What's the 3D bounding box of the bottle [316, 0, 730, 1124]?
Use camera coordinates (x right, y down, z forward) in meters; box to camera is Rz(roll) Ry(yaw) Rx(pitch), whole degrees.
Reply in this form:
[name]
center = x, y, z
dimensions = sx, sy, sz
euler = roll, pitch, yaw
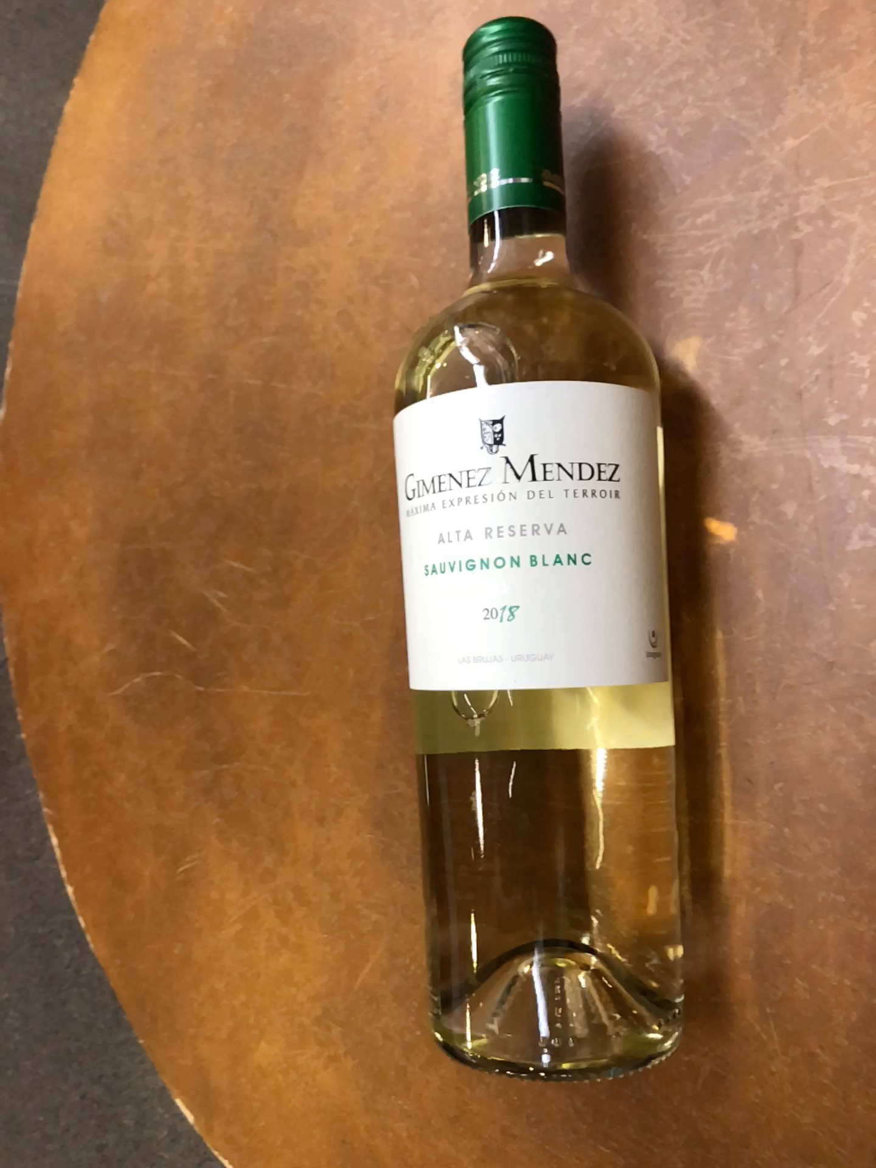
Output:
[bottle]
center = 0.020, -0.024, 0.277
dimensions = 0.090, 0.050, 0.300
euler = -6, 83, 35
